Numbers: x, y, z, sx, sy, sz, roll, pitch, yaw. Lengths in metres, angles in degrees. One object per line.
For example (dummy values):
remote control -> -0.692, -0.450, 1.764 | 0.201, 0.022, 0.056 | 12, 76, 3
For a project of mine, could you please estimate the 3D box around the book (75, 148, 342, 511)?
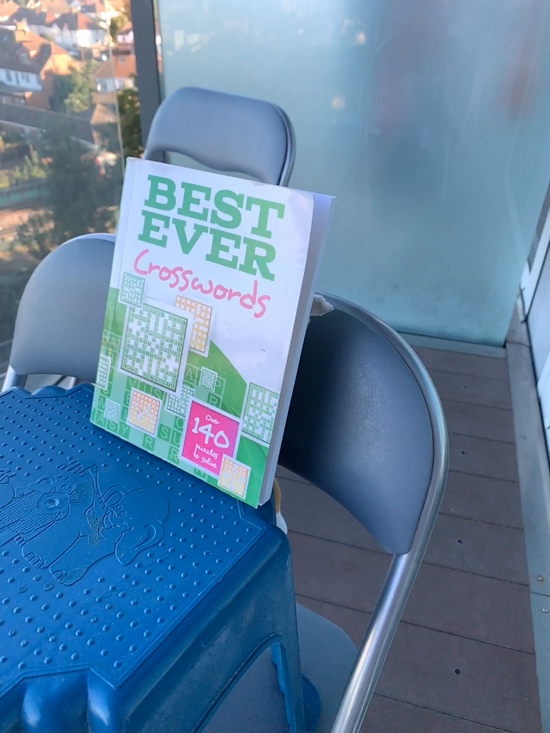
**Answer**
book -> -0.055, -0.029, 0.377 | 0.157, 0.196, 0.030 | 20, 17, 26
